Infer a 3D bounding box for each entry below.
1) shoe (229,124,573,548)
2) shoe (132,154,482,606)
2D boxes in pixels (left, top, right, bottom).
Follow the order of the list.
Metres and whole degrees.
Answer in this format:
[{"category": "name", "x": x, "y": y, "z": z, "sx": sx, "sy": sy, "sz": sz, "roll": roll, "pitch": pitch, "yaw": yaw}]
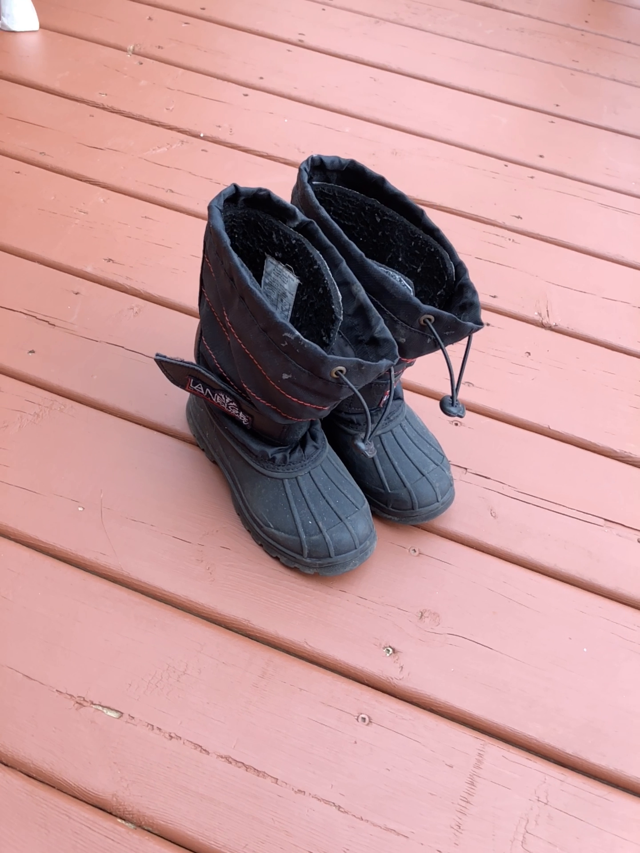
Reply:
[{"category": "shoe", "x": 0.038, "y": -0.061, "z": 0.541, "sx": 0.100, "sy": 0.229, "sz": 0.210, "roll": -34, "pitch": 64, "yaw": -26}, {"category": "shoe", "x": -0.023, "y": -0.025, "z": 0.507, "sx": 0.100, "sy": 0.229, "sz": 0.210, "roll": -30, "pitch": 62, "yaw": -24}]
